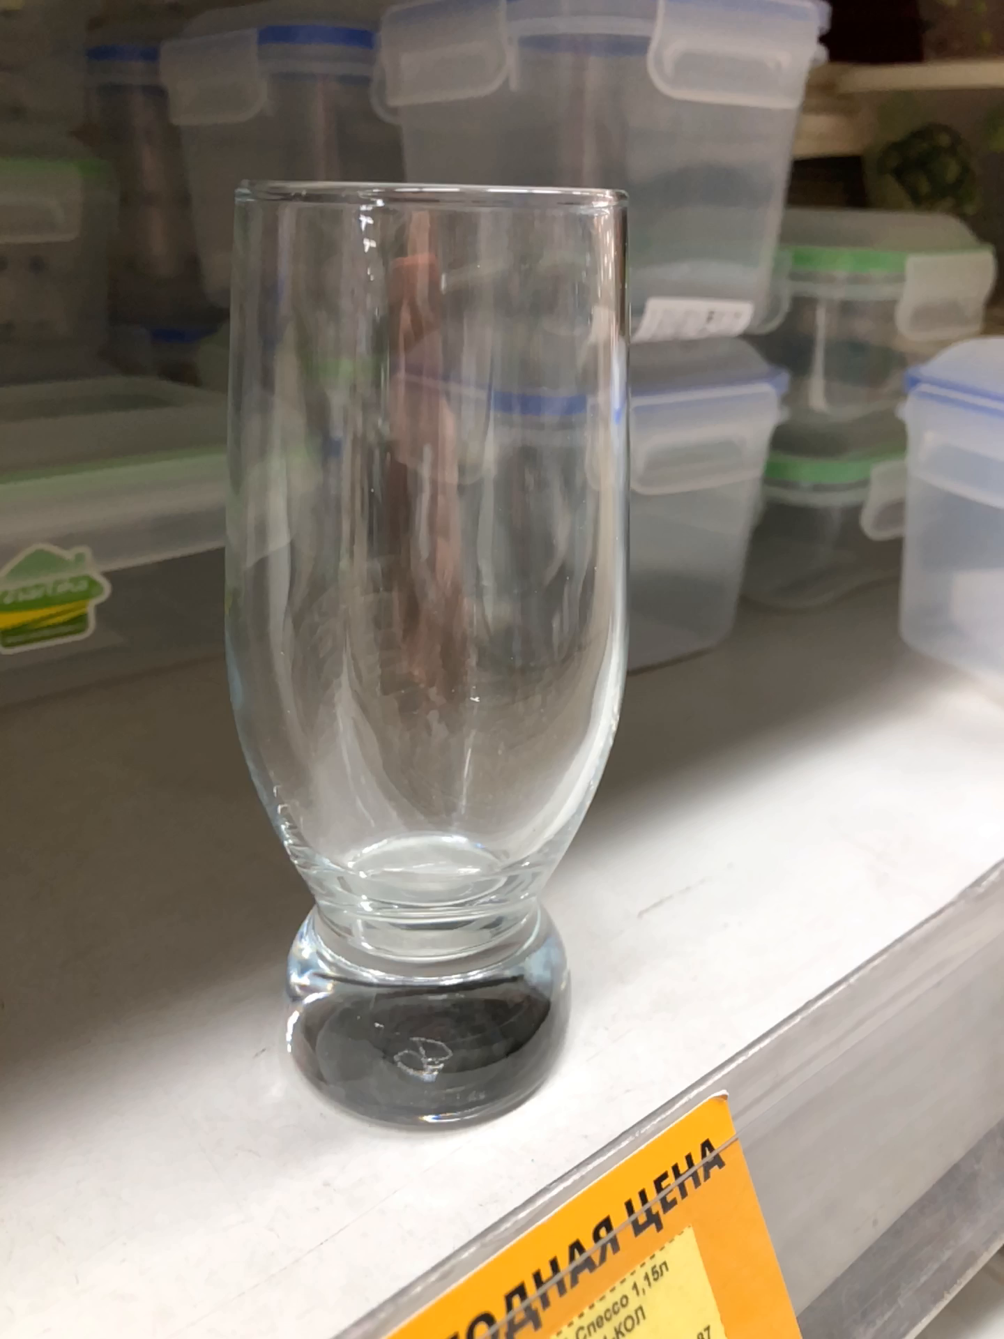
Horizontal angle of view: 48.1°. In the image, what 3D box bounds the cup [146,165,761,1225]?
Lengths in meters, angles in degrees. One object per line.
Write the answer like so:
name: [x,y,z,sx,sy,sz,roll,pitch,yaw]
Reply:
cup: [-0.012,-0.001,0.184,0.057,0.146,0.069,-13,27,-33]
